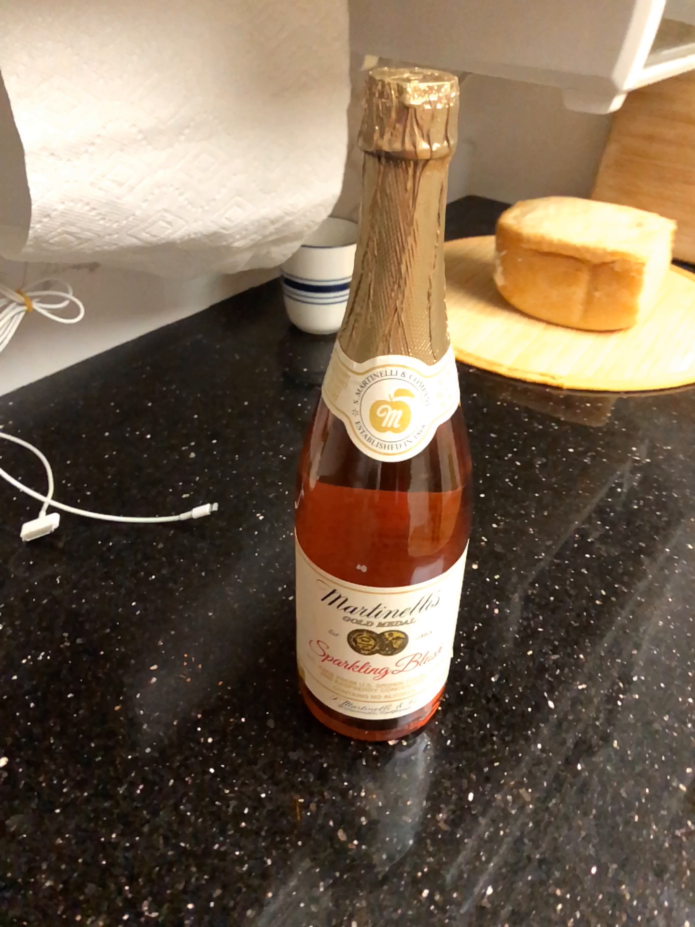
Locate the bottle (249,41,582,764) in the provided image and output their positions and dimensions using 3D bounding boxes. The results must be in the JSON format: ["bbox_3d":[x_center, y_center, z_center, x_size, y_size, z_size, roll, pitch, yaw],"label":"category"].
[{"bbox_3d":[0.019,-0.005,0.330,0.090,0.298,0.091,1,36,-1],"label":"bottle"}]
